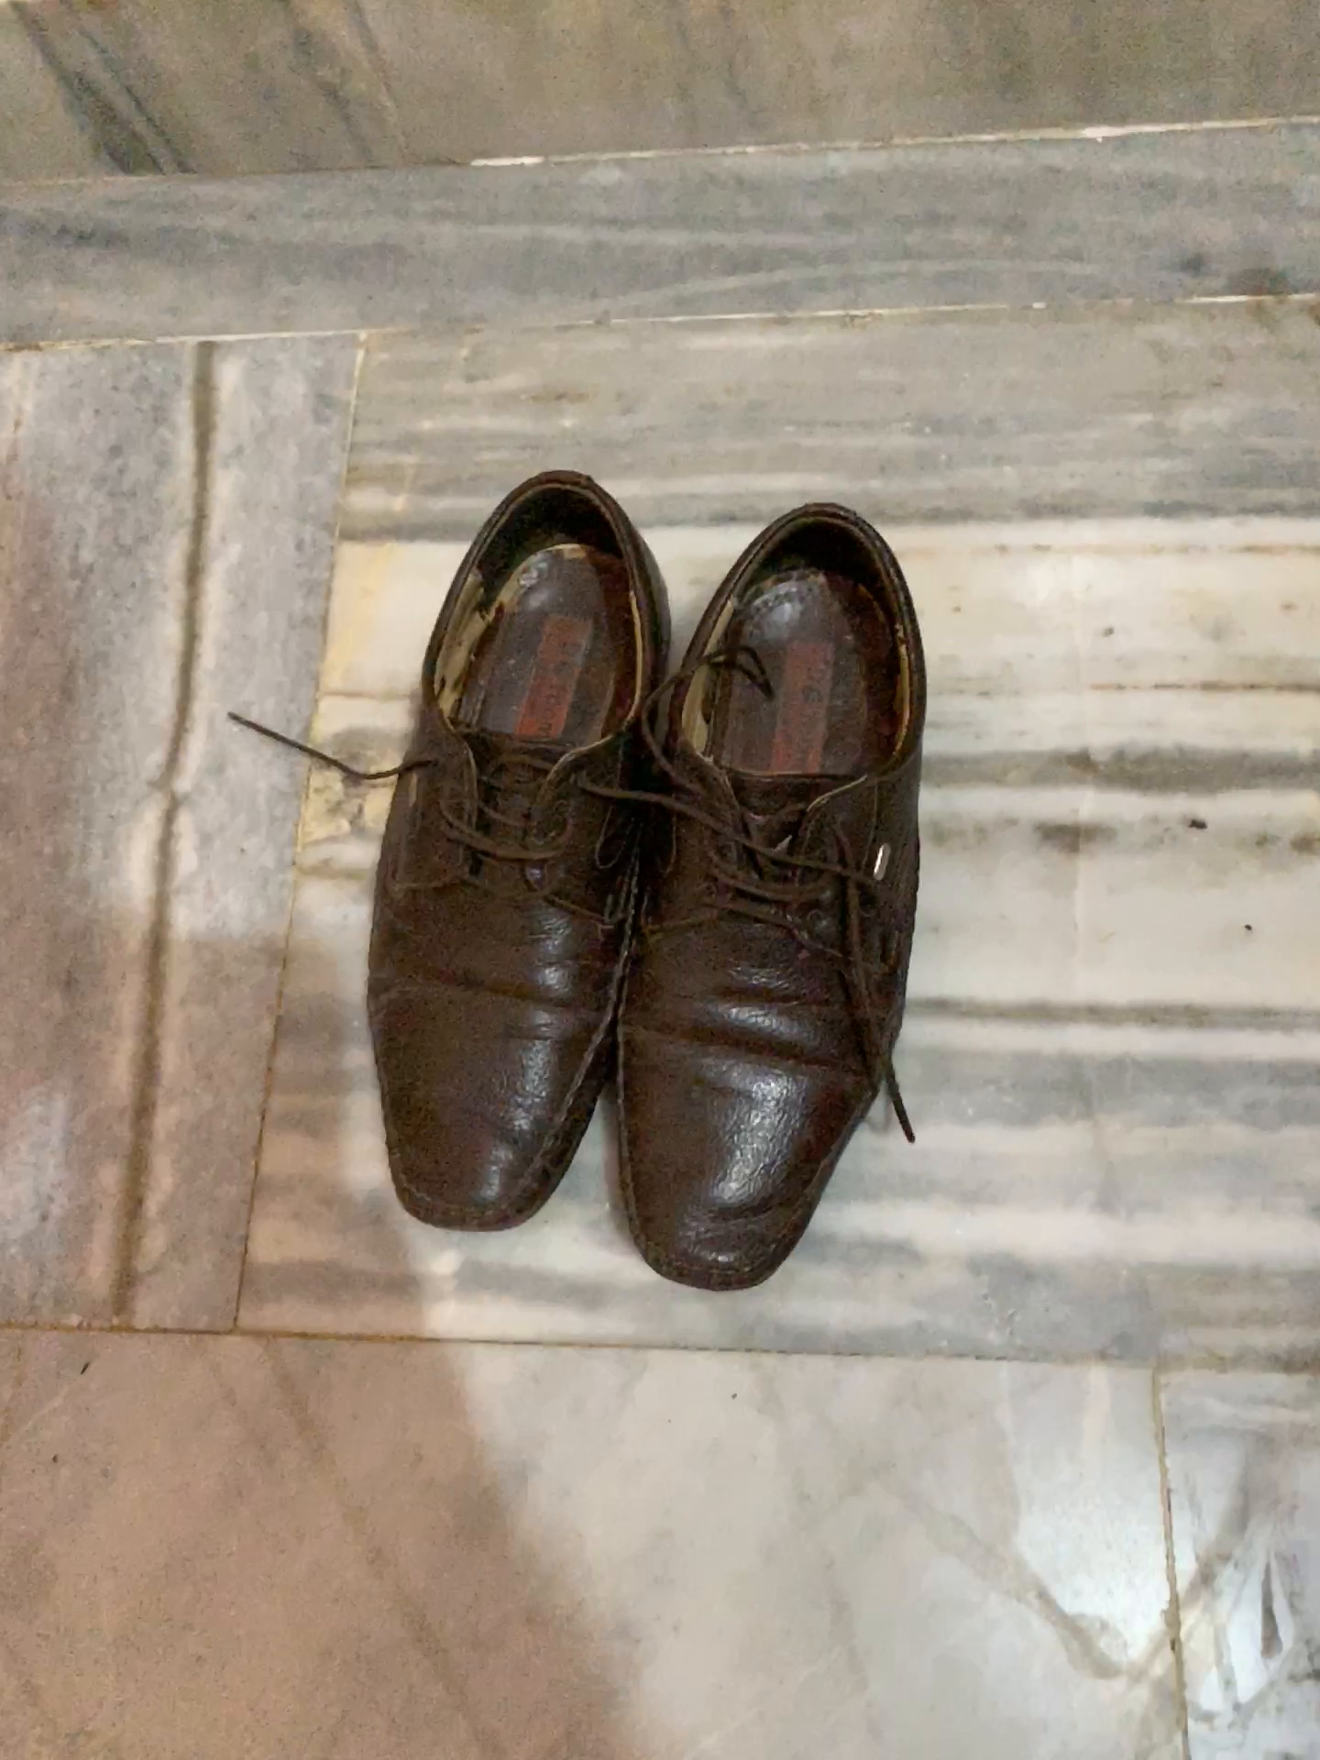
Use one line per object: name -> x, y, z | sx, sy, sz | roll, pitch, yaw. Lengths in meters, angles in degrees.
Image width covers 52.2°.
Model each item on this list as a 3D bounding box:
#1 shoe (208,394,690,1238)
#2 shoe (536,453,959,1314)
shoe -> -0.063, -0.023, 0.500 | 0.100, 0.110, 0.282 | 7, 72, 7
shoe -> 0.039, 0.002, 0.490 | 0.100, 0.110, 0.282 | 7, 72, 7
